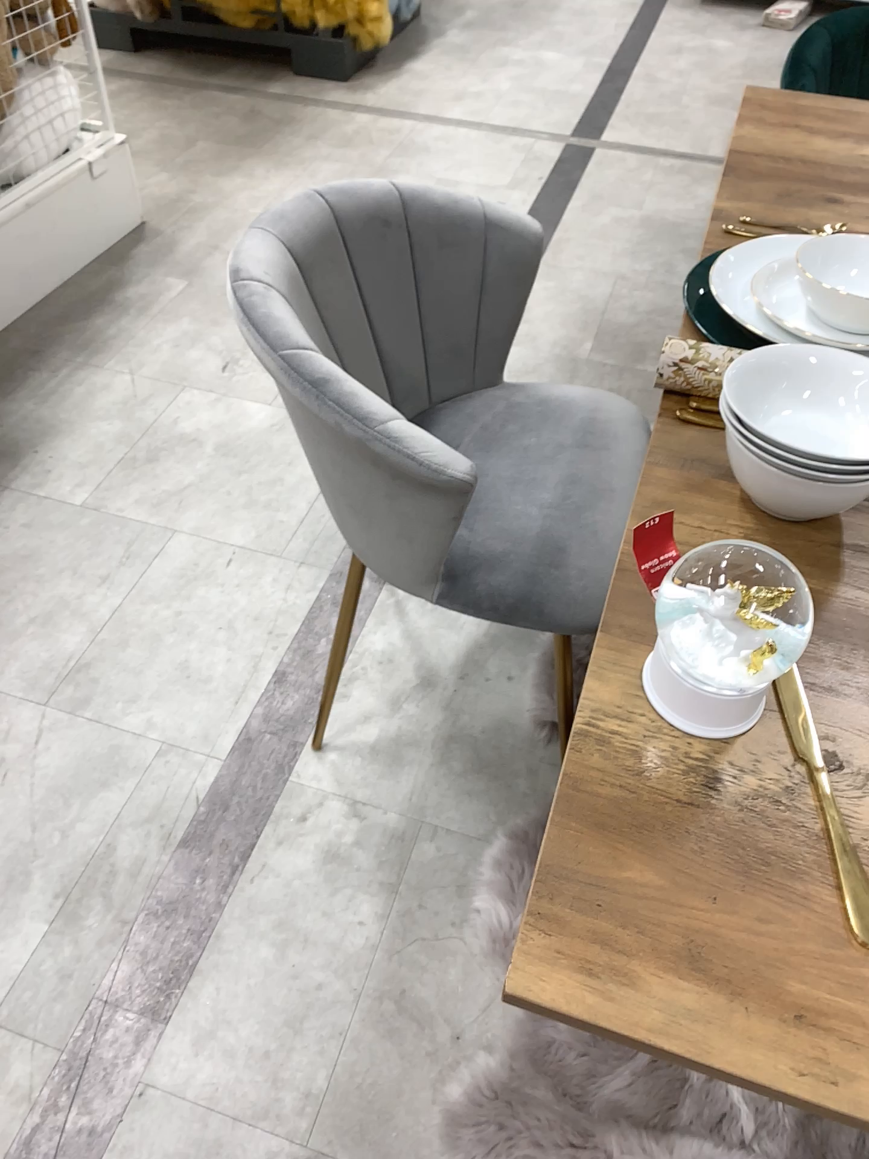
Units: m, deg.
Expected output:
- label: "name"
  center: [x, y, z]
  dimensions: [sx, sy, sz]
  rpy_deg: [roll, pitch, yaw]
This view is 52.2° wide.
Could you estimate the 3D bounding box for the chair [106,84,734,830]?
- label: "chair"
  center: [0.037, -0.170, 1.238]
  dimensions: [0.550, 0.709, 0.636]
  rpy_deg: [11, 47, 9]
